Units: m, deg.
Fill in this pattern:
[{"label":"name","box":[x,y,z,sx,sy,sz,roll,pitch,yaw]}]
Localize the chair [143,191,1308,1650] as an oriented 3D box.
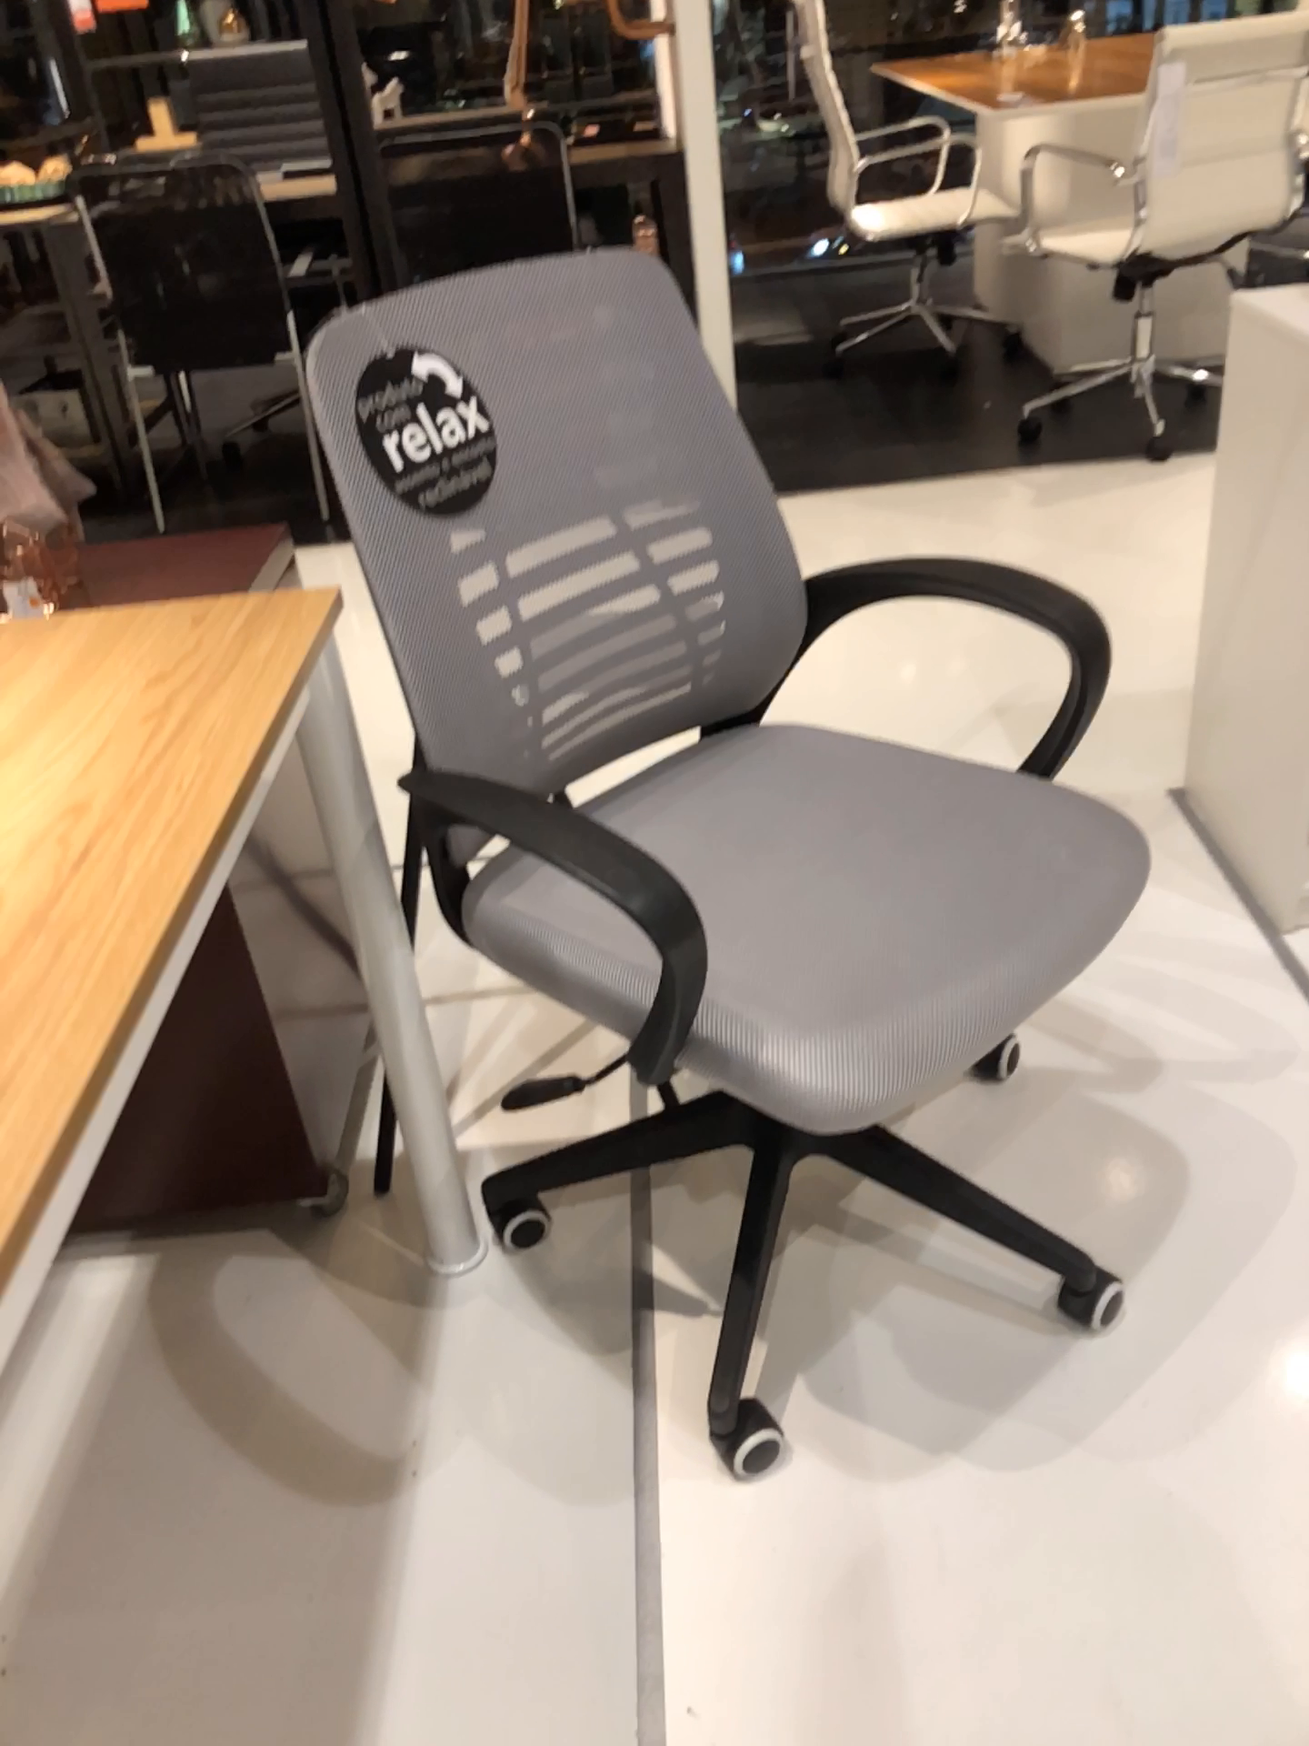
[{"label":"chair","box":[0.142,-0.052,1.216,0.663,0.854,0.662,-30,38,-34]}]
